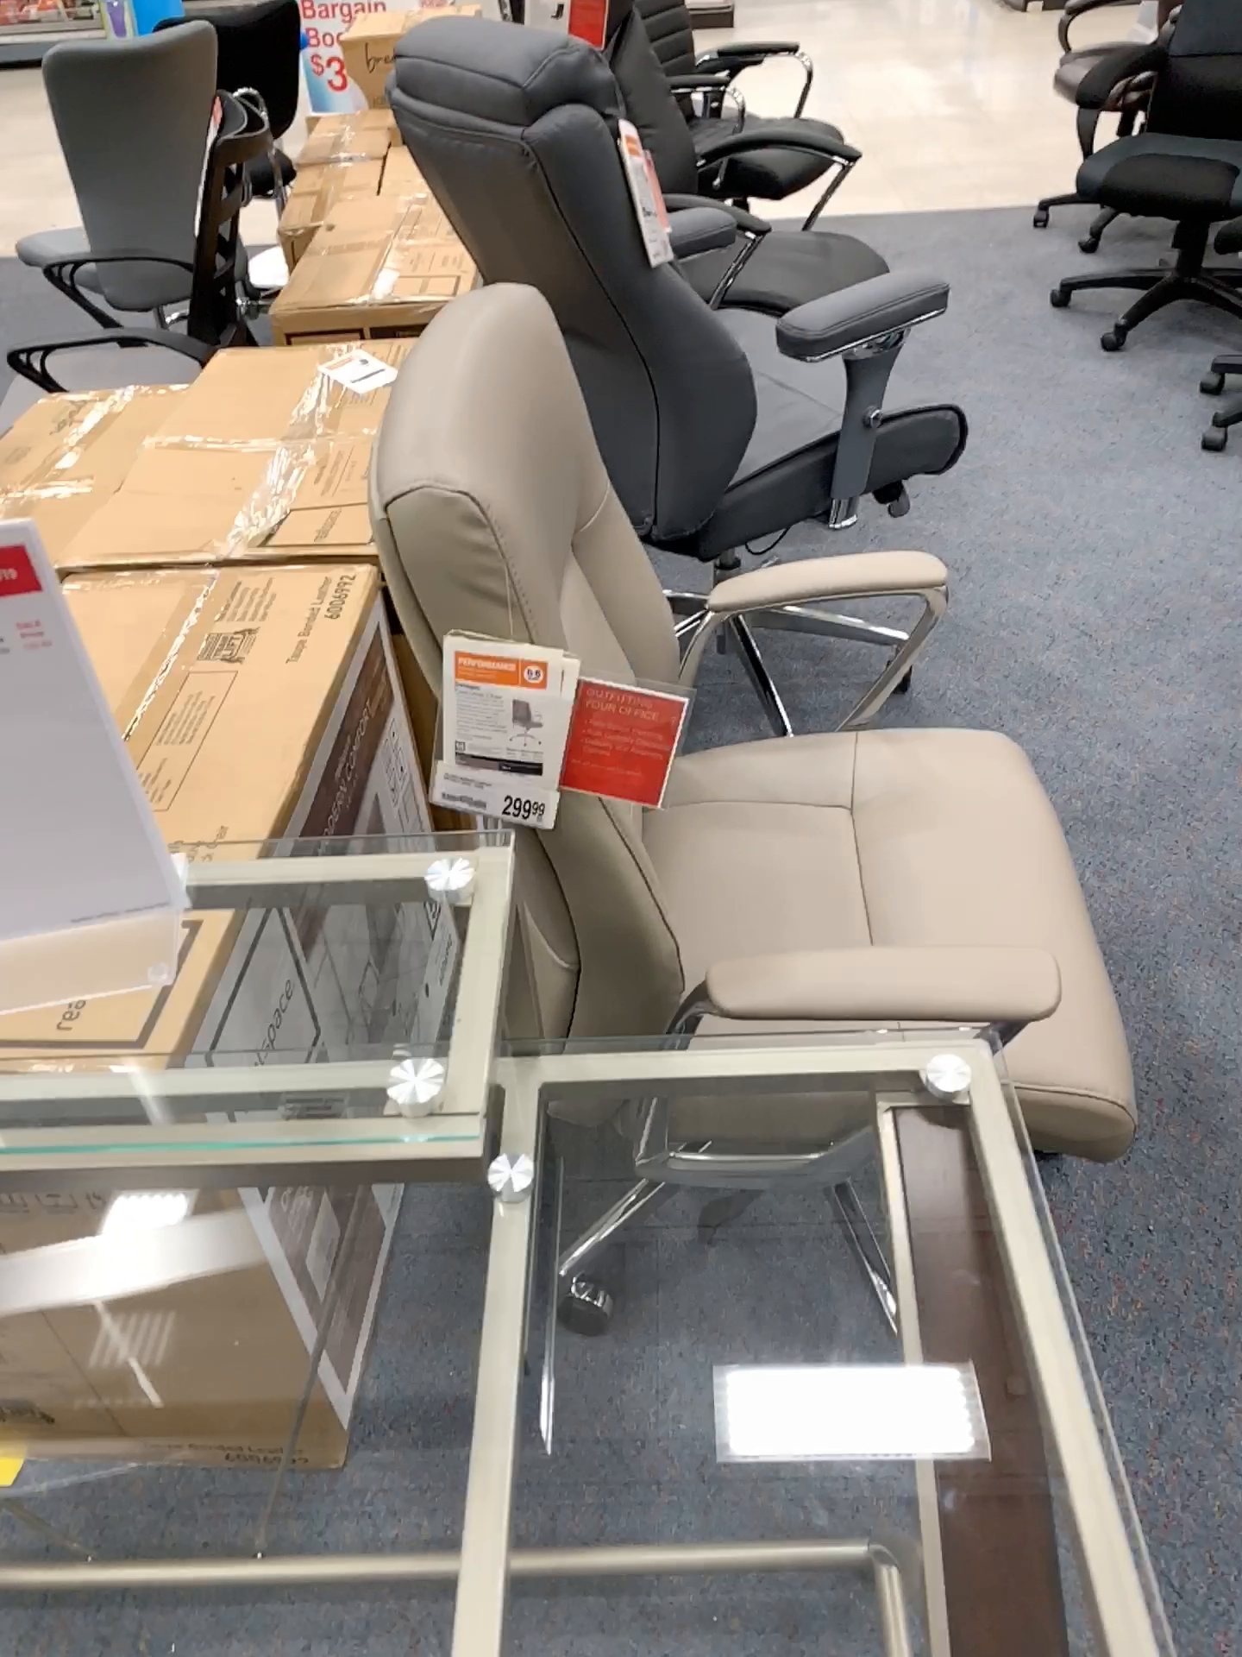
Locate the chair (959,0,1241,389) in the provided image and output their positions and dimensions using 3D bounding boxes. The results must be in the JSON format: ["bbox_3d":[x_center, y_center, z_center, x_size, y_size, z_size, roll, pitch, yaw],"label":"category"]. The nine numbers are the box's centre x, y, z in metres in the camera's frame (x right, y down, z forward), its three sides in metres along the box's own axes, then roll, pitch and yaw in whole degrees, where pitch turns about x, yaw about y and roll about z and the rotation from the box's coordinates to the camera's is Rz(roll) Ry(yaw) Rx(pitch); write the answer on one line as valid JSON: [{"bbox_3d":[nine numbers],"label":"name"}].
[{"bbox_3d":[1.569,-1.895,3.332,0.936,1.016,0.814,-33,48,-30],"label":"chair"}]

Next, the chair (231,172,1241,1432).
[{"bbox_3d":[0.176,-0.005,1.215,0.674,0.956,0.695,0,40,5],"label":"chair"}]

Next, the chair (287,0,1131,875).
[{"bbox_3d":[0.098,-0.695,2.019,0.815,1.056,0.815,-22,43,-20],"label":"chair"}]
